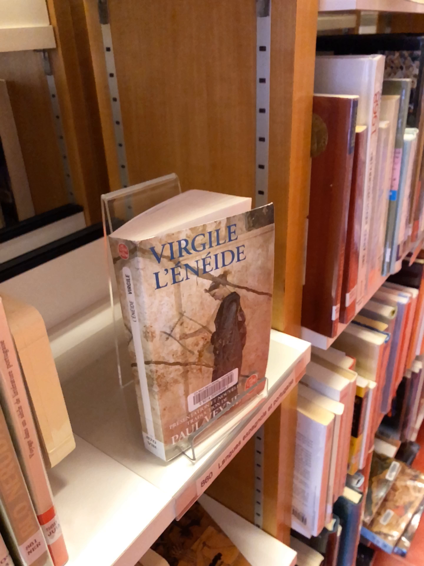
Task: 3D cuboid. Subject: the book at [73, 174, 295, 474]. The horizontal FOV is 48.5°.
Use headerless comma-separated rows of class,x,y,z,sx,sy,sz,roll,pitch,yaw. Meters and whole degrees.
book,-0.011,0.022,0.350,0.132,0.168,0.073,-27,35,-38
